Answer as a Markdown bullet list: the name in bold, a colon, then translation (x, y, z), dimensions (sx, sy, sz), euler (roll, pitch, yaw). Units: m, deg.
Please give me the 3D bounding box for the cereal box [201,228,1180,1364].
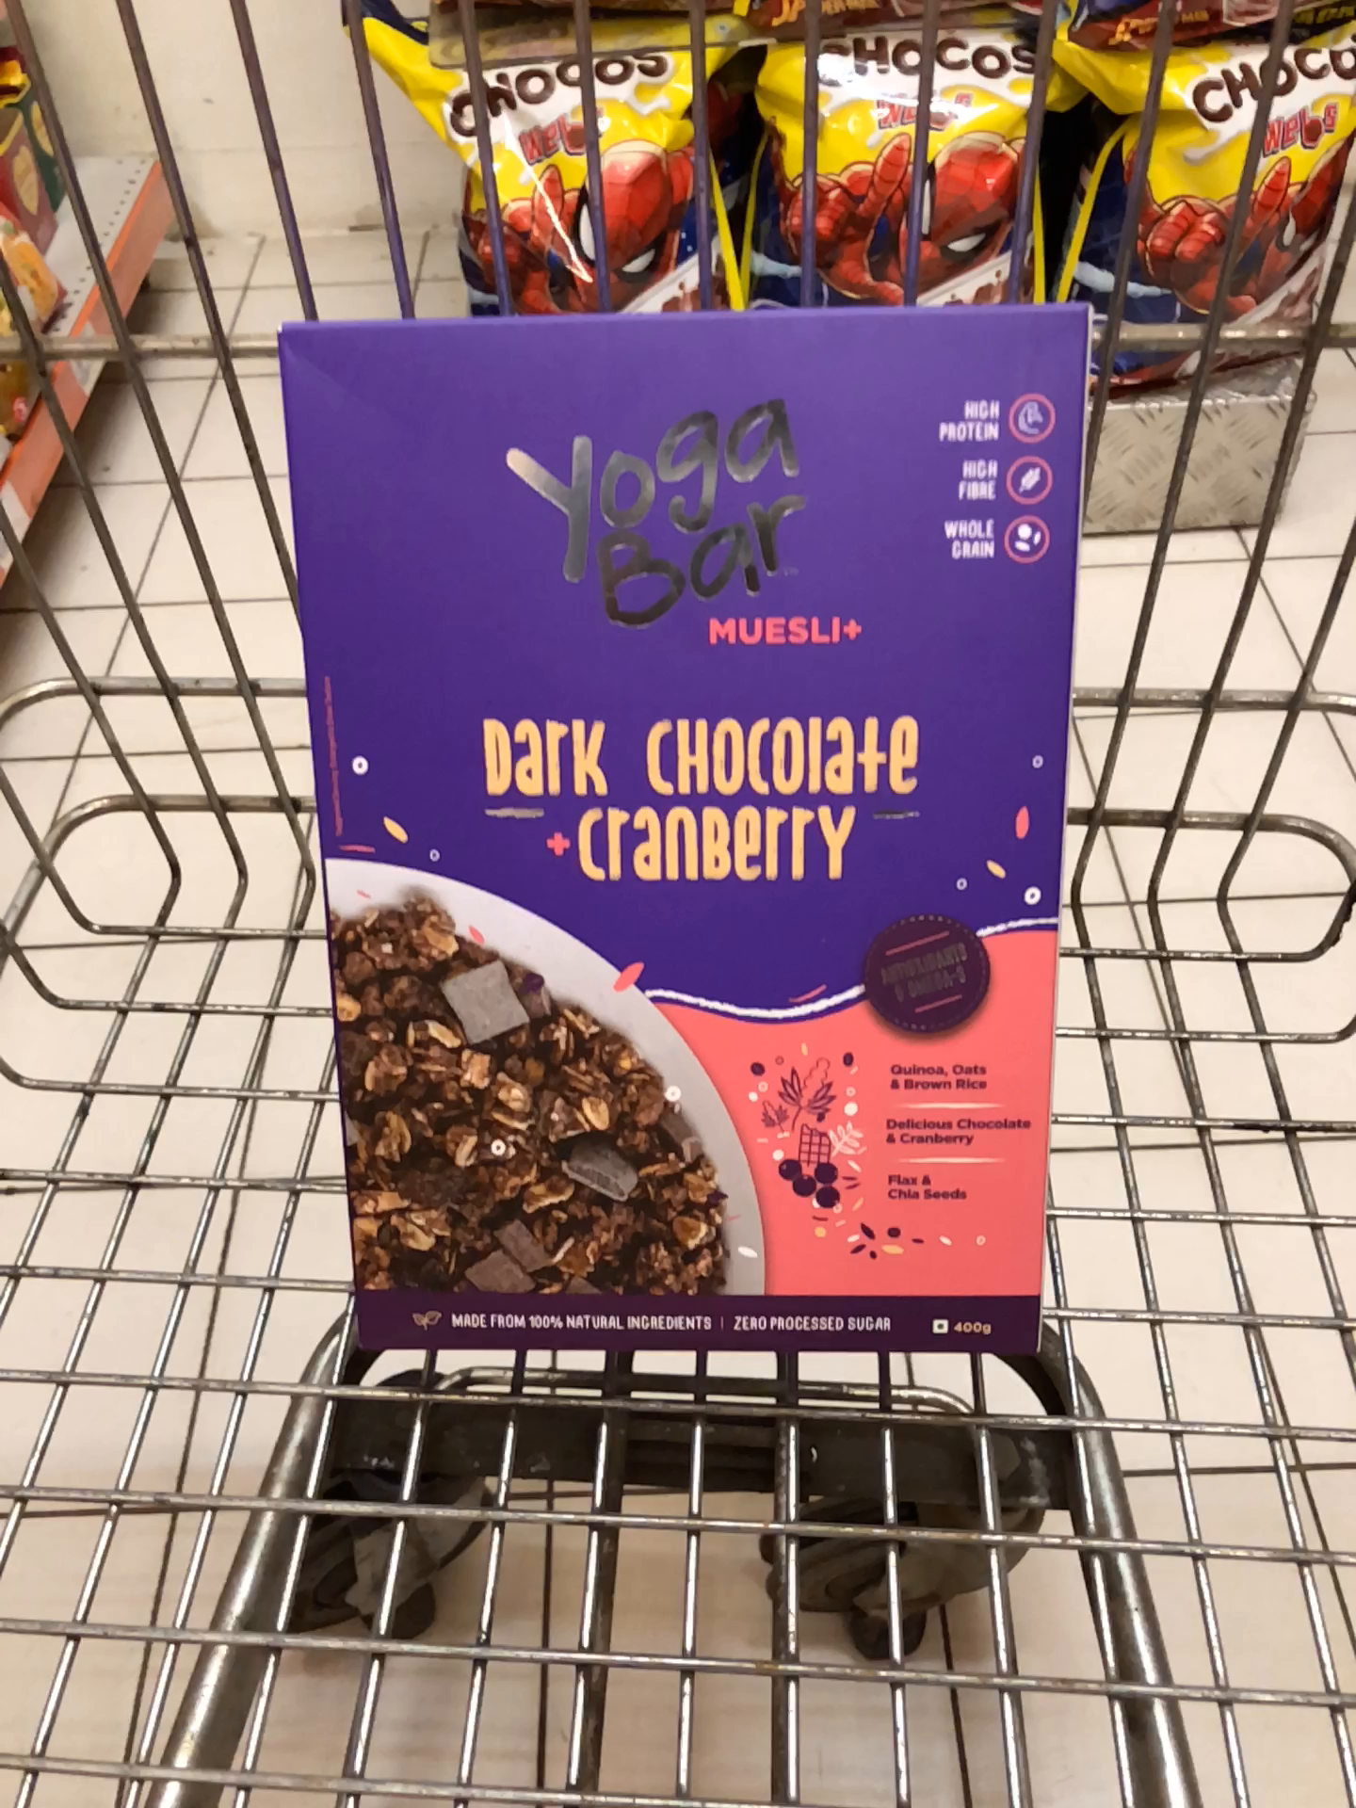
- **cereal box**: translation (0.004, -0.019, 0.333), dimensions (0.180, 0.229, 0.060), euler (0, 14, 3)
